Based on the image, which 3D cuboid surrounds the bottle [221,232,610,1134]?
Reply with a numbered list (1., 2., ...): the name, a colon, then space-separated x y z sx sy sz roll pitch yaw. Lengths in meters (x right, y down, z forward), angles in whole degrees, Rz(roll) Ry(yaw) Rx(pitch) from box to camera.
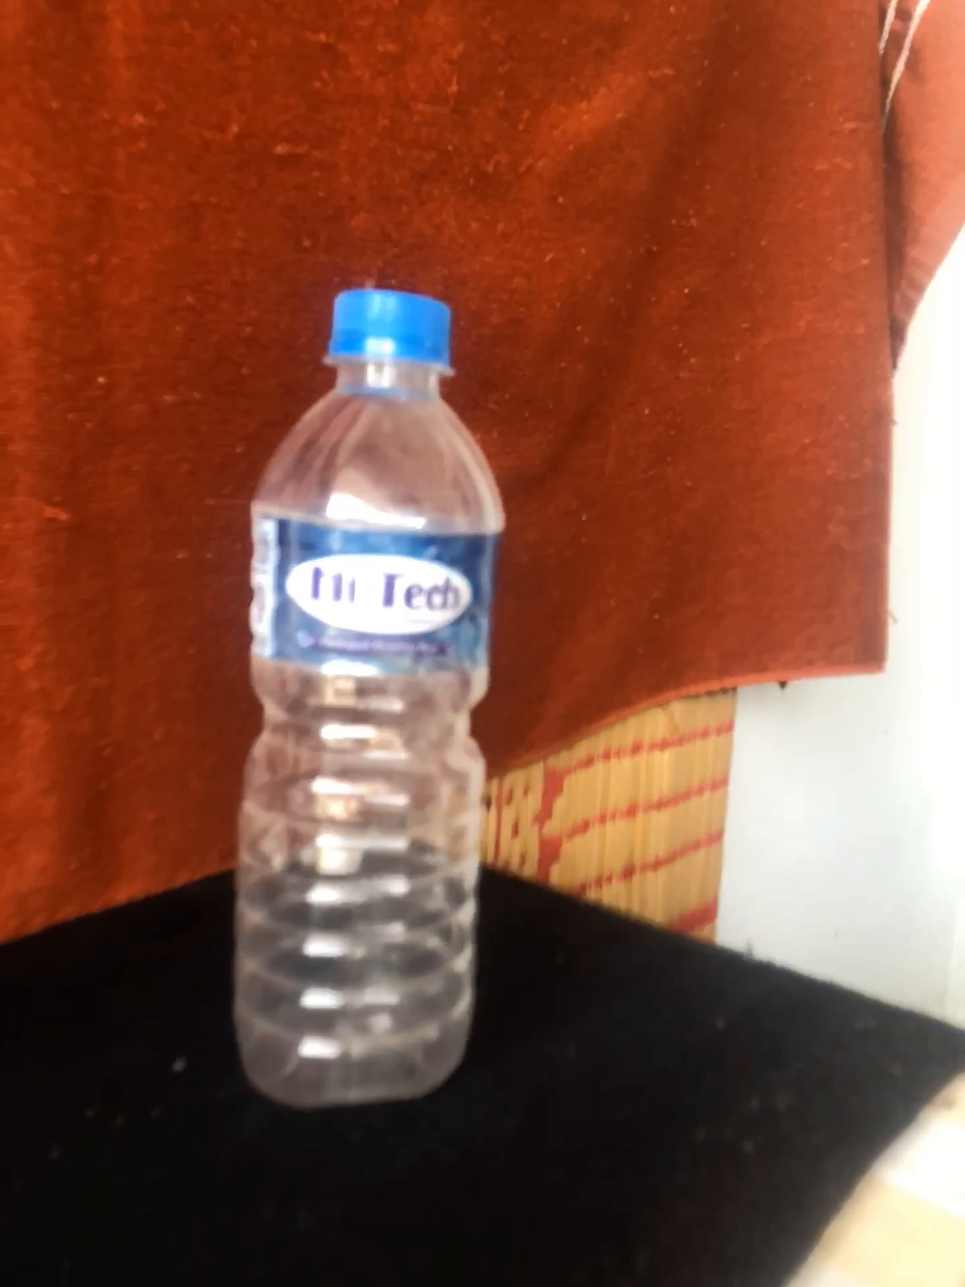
1. bottle: -0.022 0.010 0.259 0.070 0.190 0.070 4 9 -1
